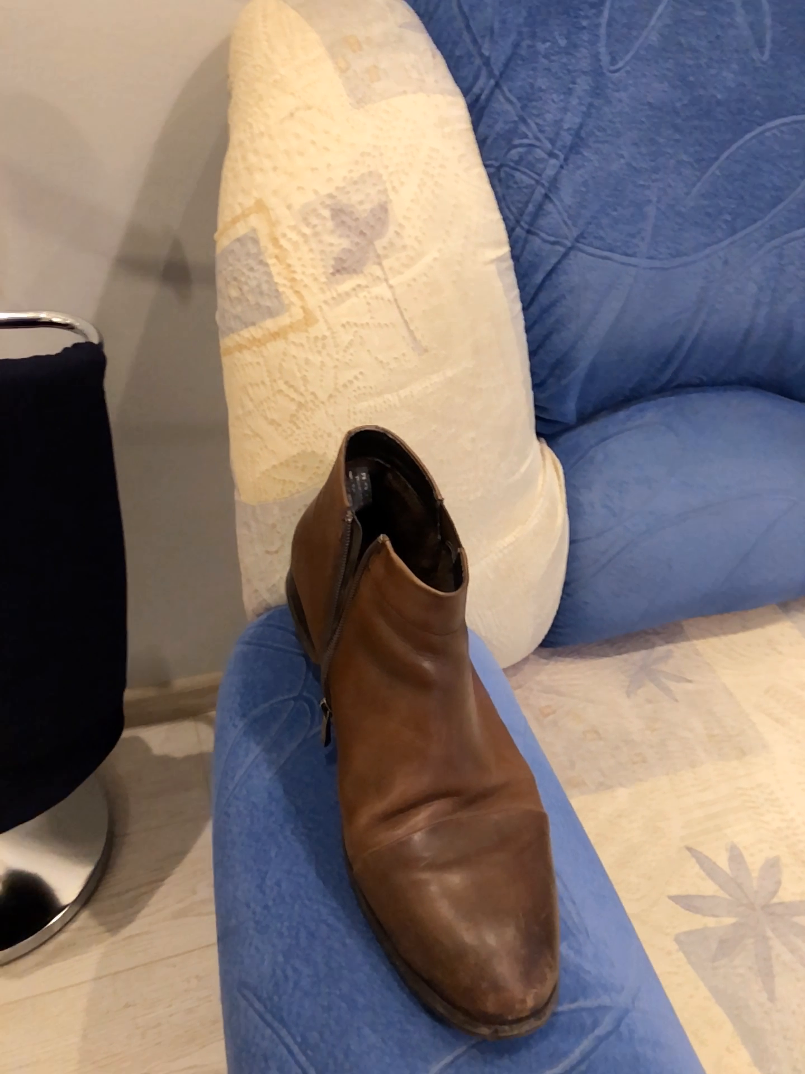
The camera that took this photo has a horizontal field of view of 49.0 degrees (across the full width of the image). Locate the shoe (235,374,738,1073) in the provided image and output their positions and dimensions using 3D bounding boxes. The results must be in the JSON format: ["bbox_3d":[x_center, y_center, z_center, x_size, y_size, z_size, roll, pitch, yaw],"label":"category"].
[{"bbox_3d":[0.006,0.066,0.446,0.110,0.139,0.312,-10,45,-19],"label":"shoe"}]
